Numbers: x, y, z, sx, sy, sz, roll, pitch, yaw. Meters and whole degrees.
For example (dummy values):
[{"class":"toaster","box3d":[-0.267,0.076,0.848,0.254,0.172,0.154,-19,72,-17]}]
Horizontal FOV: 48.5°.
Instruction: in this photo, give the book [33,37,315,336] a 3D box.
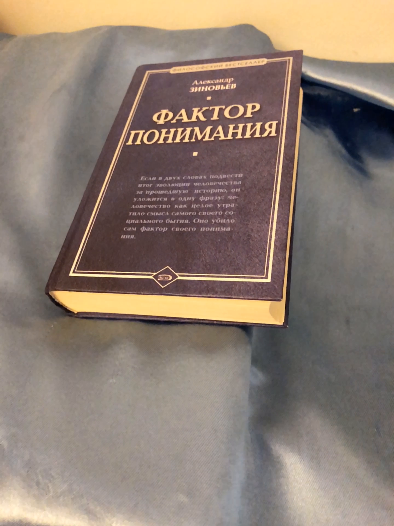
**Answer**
[{"class":"book","box3d":[0.003,-0.065,0.294,0.140,0.040,0.221,1,55,17]}]
